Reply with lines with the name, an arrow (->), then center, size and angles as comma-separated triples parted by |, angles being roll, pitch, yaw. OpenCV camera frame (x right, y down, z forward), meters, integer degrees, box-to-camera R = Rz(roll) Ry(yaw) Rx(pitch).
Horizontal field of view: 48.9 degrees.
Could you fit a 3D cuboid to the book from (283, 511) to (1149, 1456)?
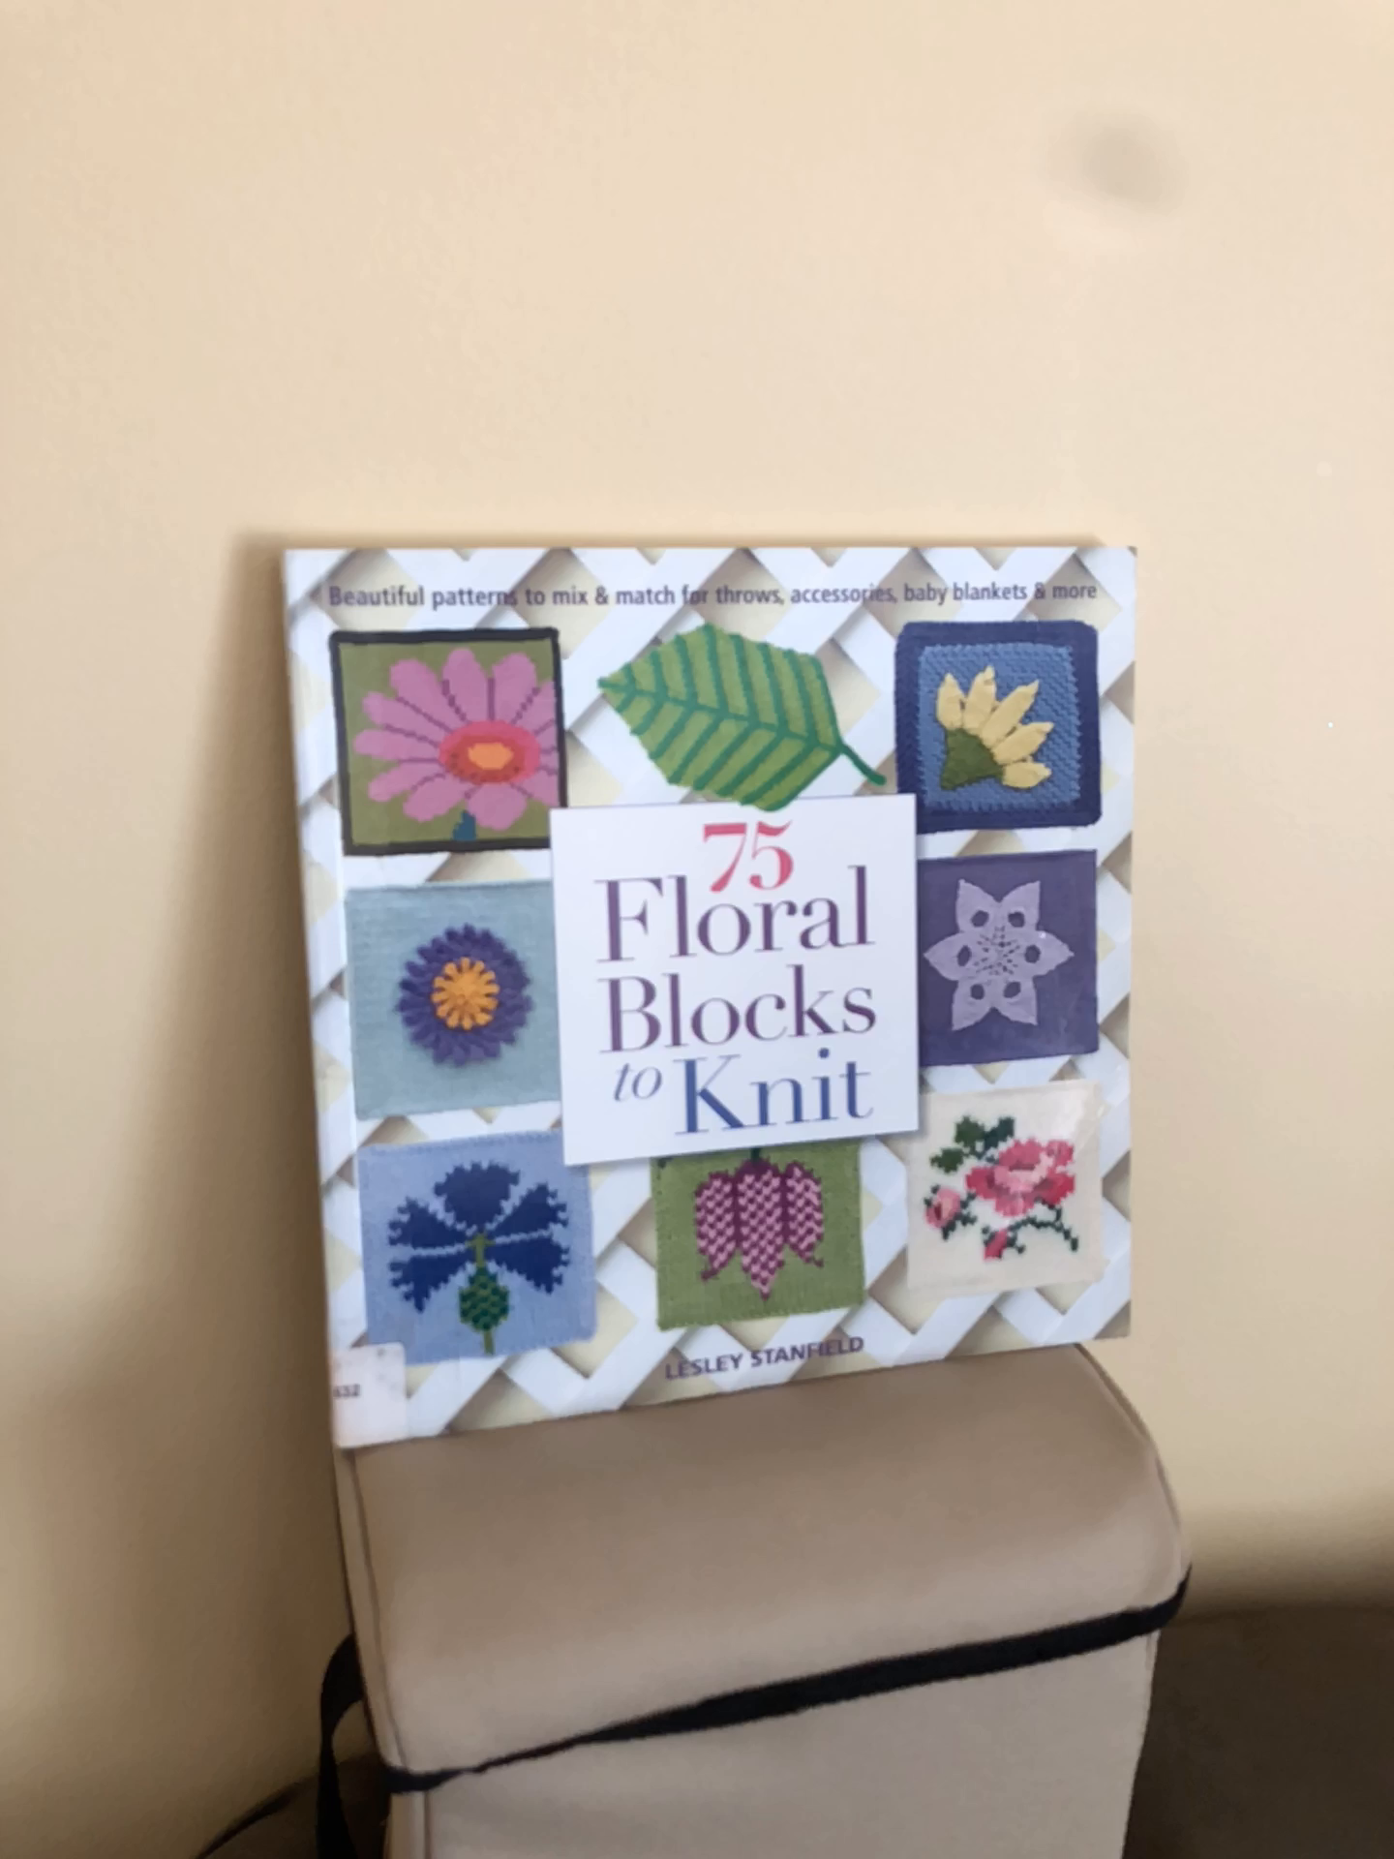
book -> 0.013, 0.010, 0.387 | 0.218, 0.215, 0.020 | -2, 5, -17
